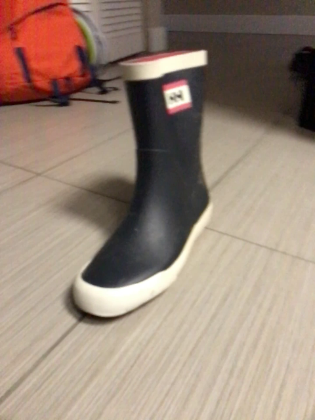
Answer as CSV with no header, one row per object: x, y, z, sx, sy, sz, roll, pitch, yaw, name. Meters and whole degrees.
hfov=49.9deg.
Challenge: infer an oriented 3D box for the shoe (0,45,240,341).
-0.005,-0.049,0.382,0.102,0.217,0.281,12,34,27,shoe
